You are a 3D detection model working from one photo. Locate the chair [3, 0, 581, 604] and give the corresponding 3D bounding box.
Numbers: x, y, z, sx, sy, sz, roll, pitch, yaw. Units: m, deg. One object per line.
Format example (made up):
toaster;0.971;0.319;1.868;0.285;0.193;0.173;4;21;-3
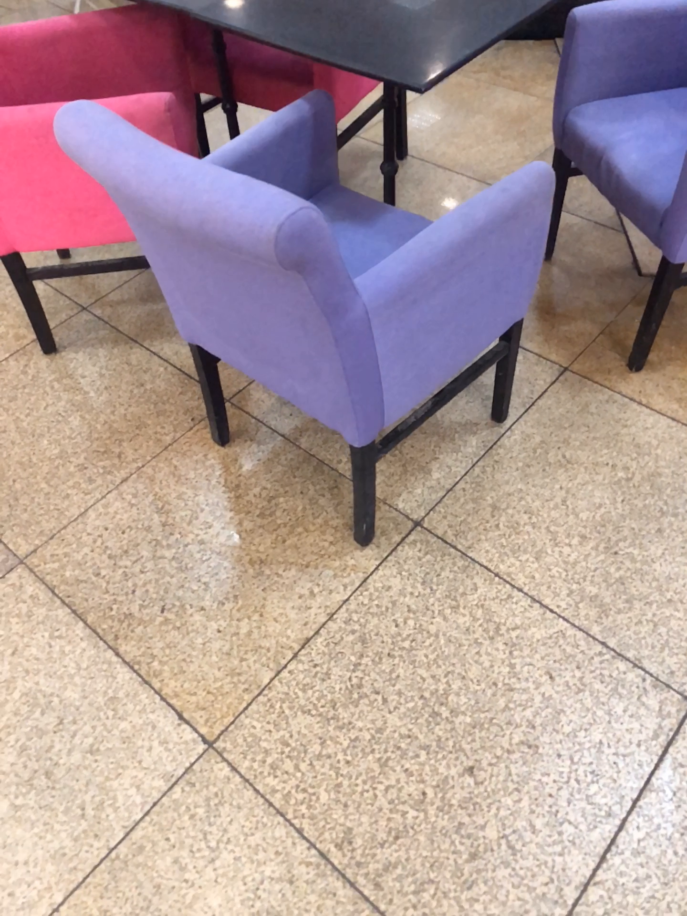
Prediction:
chair;-0.049;-0.313;1.436;0.571;0.817;0.661;34;60;29
